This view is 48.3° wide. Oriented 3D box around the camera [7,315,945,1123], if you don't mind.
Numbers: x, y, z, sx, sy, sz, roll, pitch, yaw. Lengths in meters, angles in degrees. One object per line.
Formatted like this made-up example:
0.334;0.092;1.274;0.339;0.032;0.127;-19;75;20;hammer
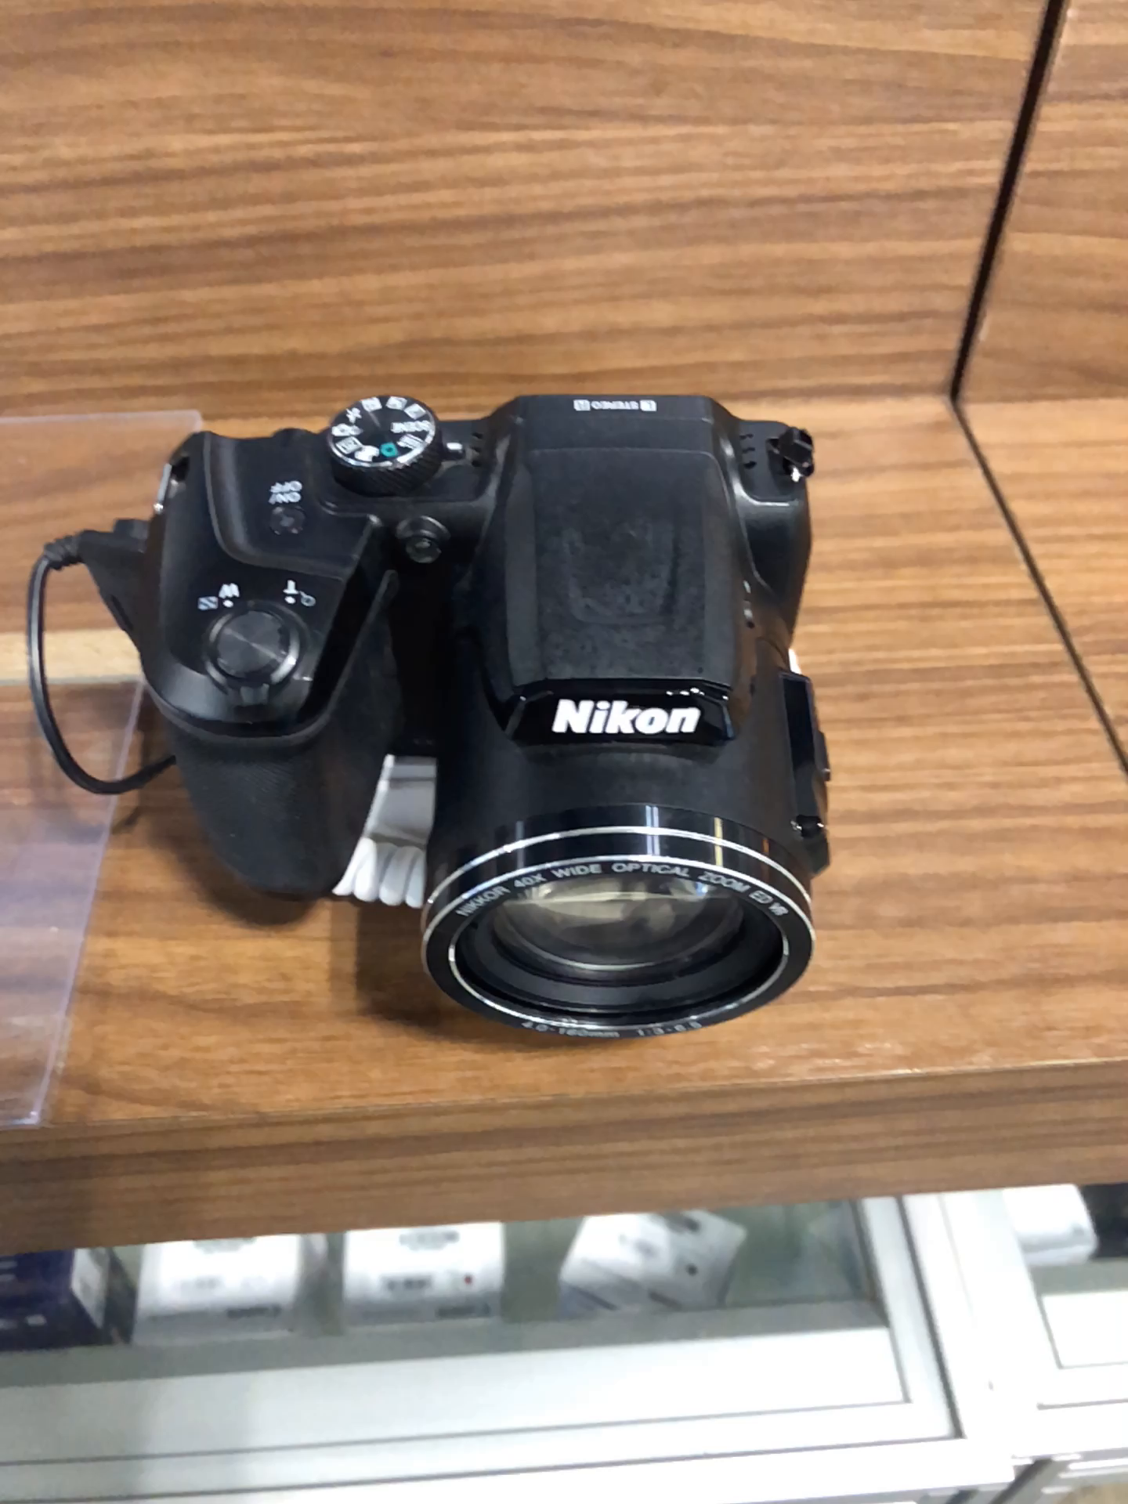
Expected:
-0.012;-0.009;0.215;0.110;0.080;0.111;-2;47;-2;camera
